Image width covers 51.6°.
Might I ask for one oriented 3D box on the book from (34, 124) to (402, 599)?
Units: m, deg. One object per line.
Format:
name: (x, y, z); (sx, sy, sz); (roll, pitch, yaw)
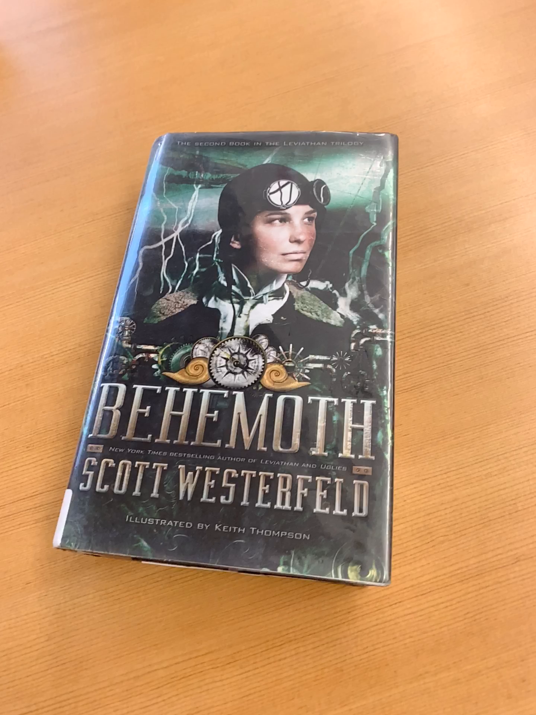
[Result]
book: (-0.010, -0.012, 0.294); (0.150, 0.050, 0.241); (3, 67, 9)
